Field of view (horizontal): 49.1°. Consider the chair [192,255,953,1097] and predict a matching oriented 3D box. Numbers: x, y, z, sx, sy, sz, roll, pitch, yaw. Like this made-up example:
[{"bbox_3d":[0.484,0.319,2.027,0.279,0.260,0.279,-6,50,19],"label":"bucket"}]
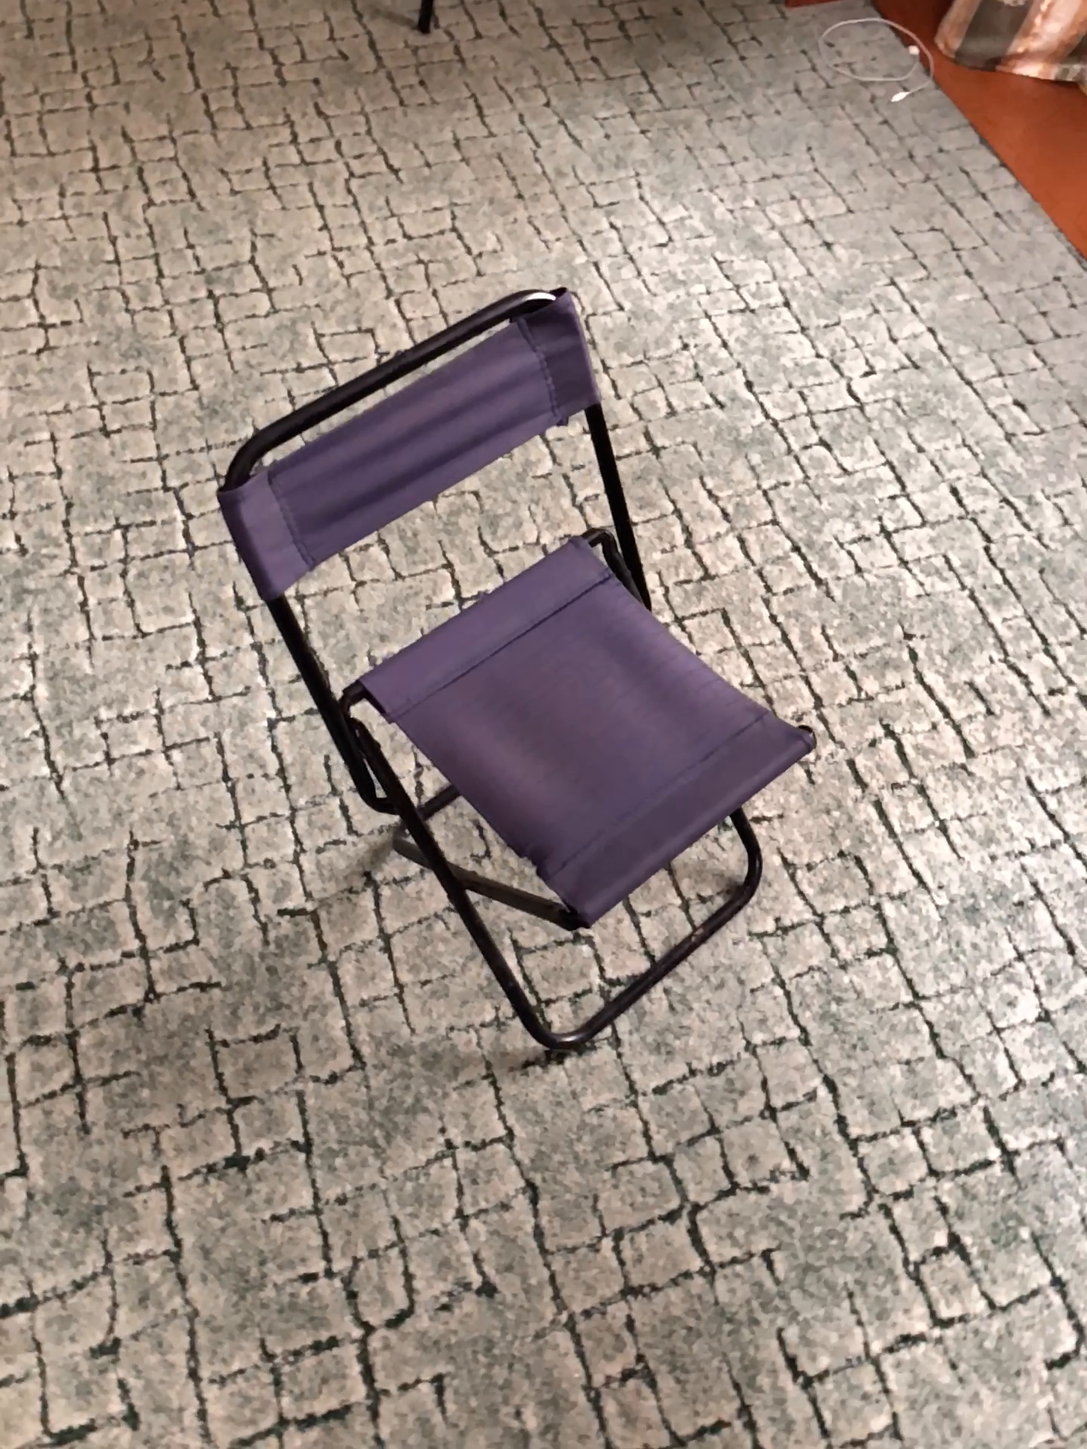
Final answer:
[{"bbox_3d":[0.003,-0.011,1.040,0.342,0.537,0.399,-36,67,-22],"label":"chair"}]
